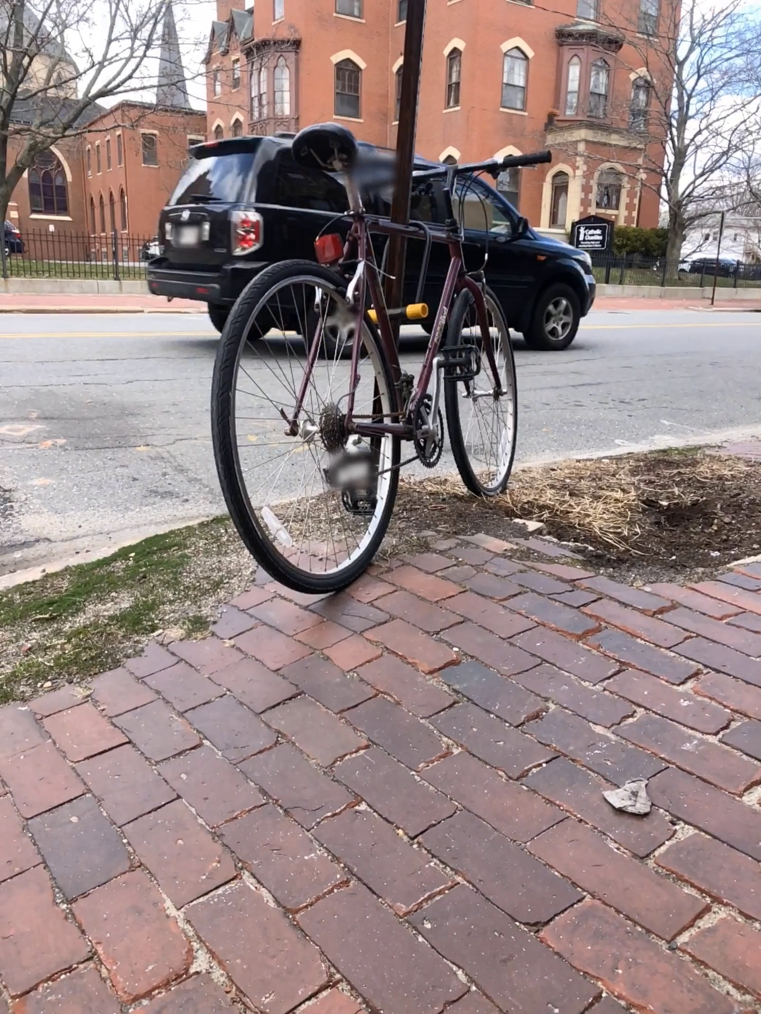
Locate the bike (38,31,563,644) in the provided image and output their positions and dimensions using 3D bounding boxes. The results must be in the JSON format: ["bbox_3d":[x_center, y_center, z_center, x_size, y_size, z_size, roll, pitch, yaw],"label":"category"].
[{"bbox_3d":[-0.017,-0.482,2.194,0.554,0.964,1.689,7,17,25],"label":"bike"}]
